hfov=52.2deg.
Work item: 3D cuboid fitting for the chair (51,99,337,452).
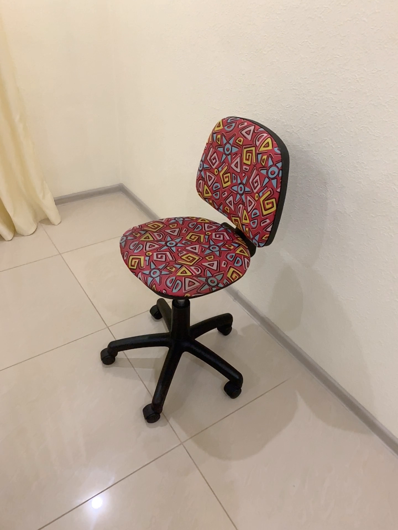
[{"bbox_3d":[-0.054,0.019,1.335,0.541,0.885,0.552,-20,43,-28],"label":"chair"}]
